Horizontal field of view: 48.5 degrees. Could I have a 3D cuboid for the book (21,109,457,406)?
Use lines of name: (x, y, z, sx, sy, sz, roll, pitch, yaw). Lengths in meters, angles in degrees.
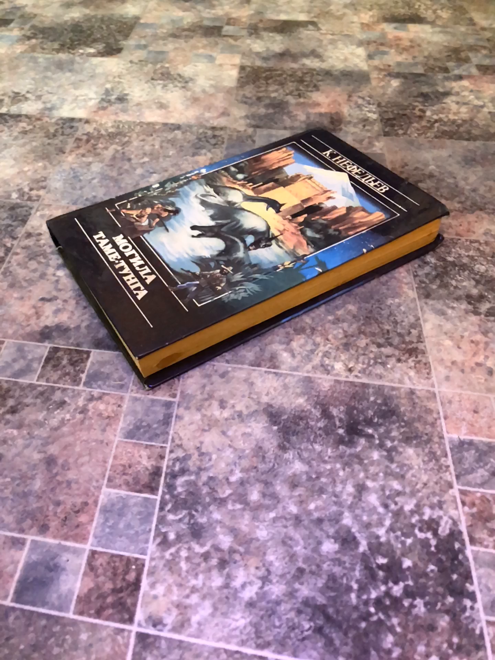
book: (-0.007, -0.059, 0.318, 0.202, 0.030, 0.139, -26, 51, -19)
